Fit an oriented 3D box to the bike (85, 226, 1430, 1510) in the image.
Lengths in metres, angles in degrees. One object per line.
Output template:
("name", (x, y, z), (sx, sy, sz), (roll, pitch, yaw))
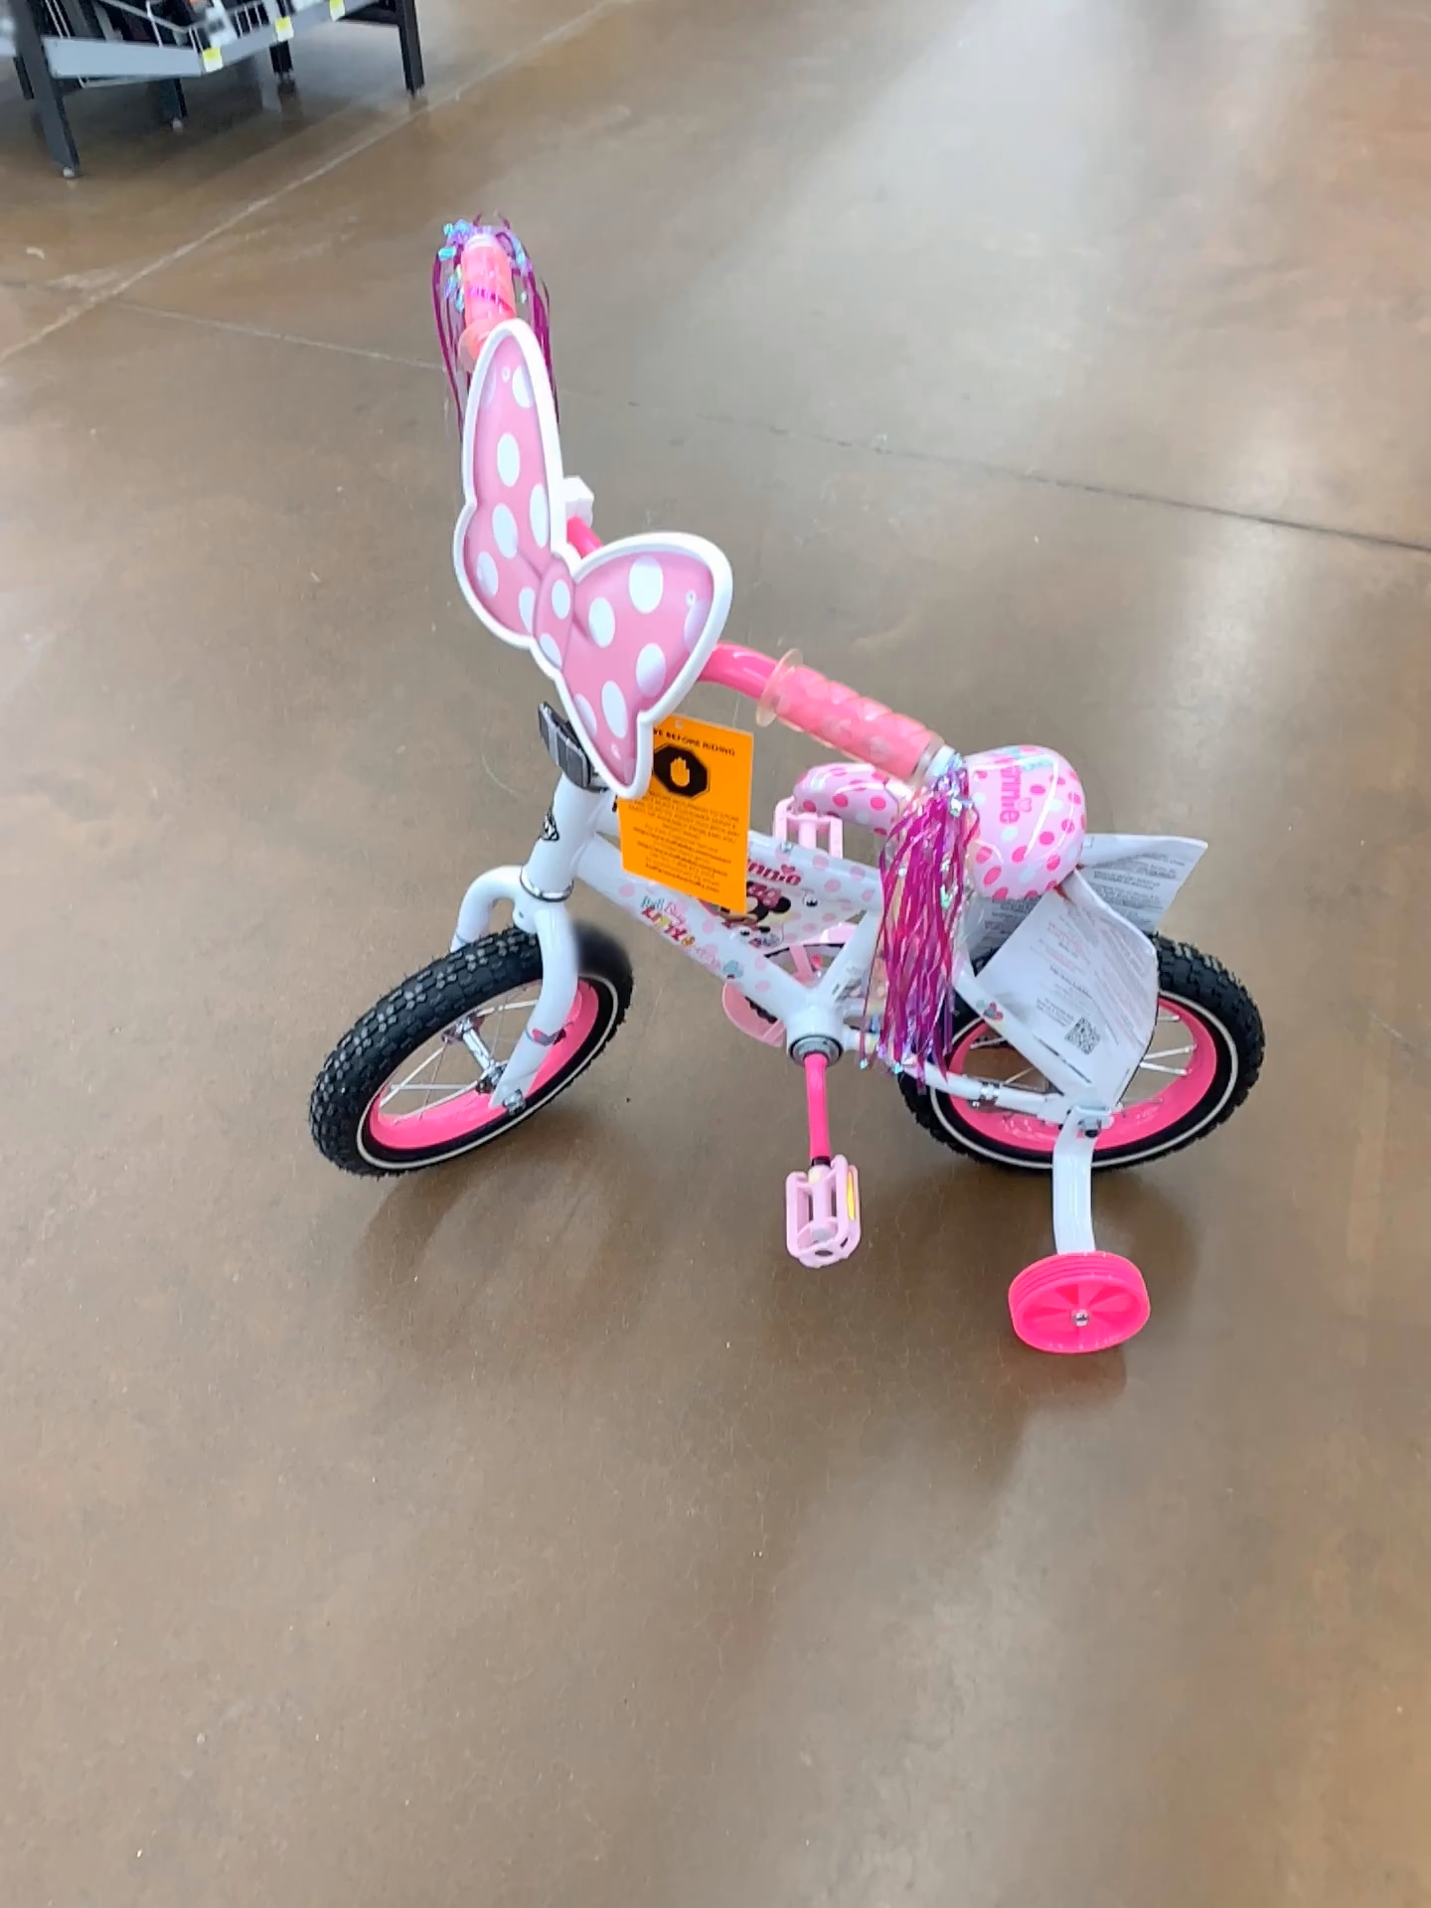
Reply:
("bike", (0.076, -0.033, 1.017), (0.759, 0.750, 0.445), (-7, 45, -9))
